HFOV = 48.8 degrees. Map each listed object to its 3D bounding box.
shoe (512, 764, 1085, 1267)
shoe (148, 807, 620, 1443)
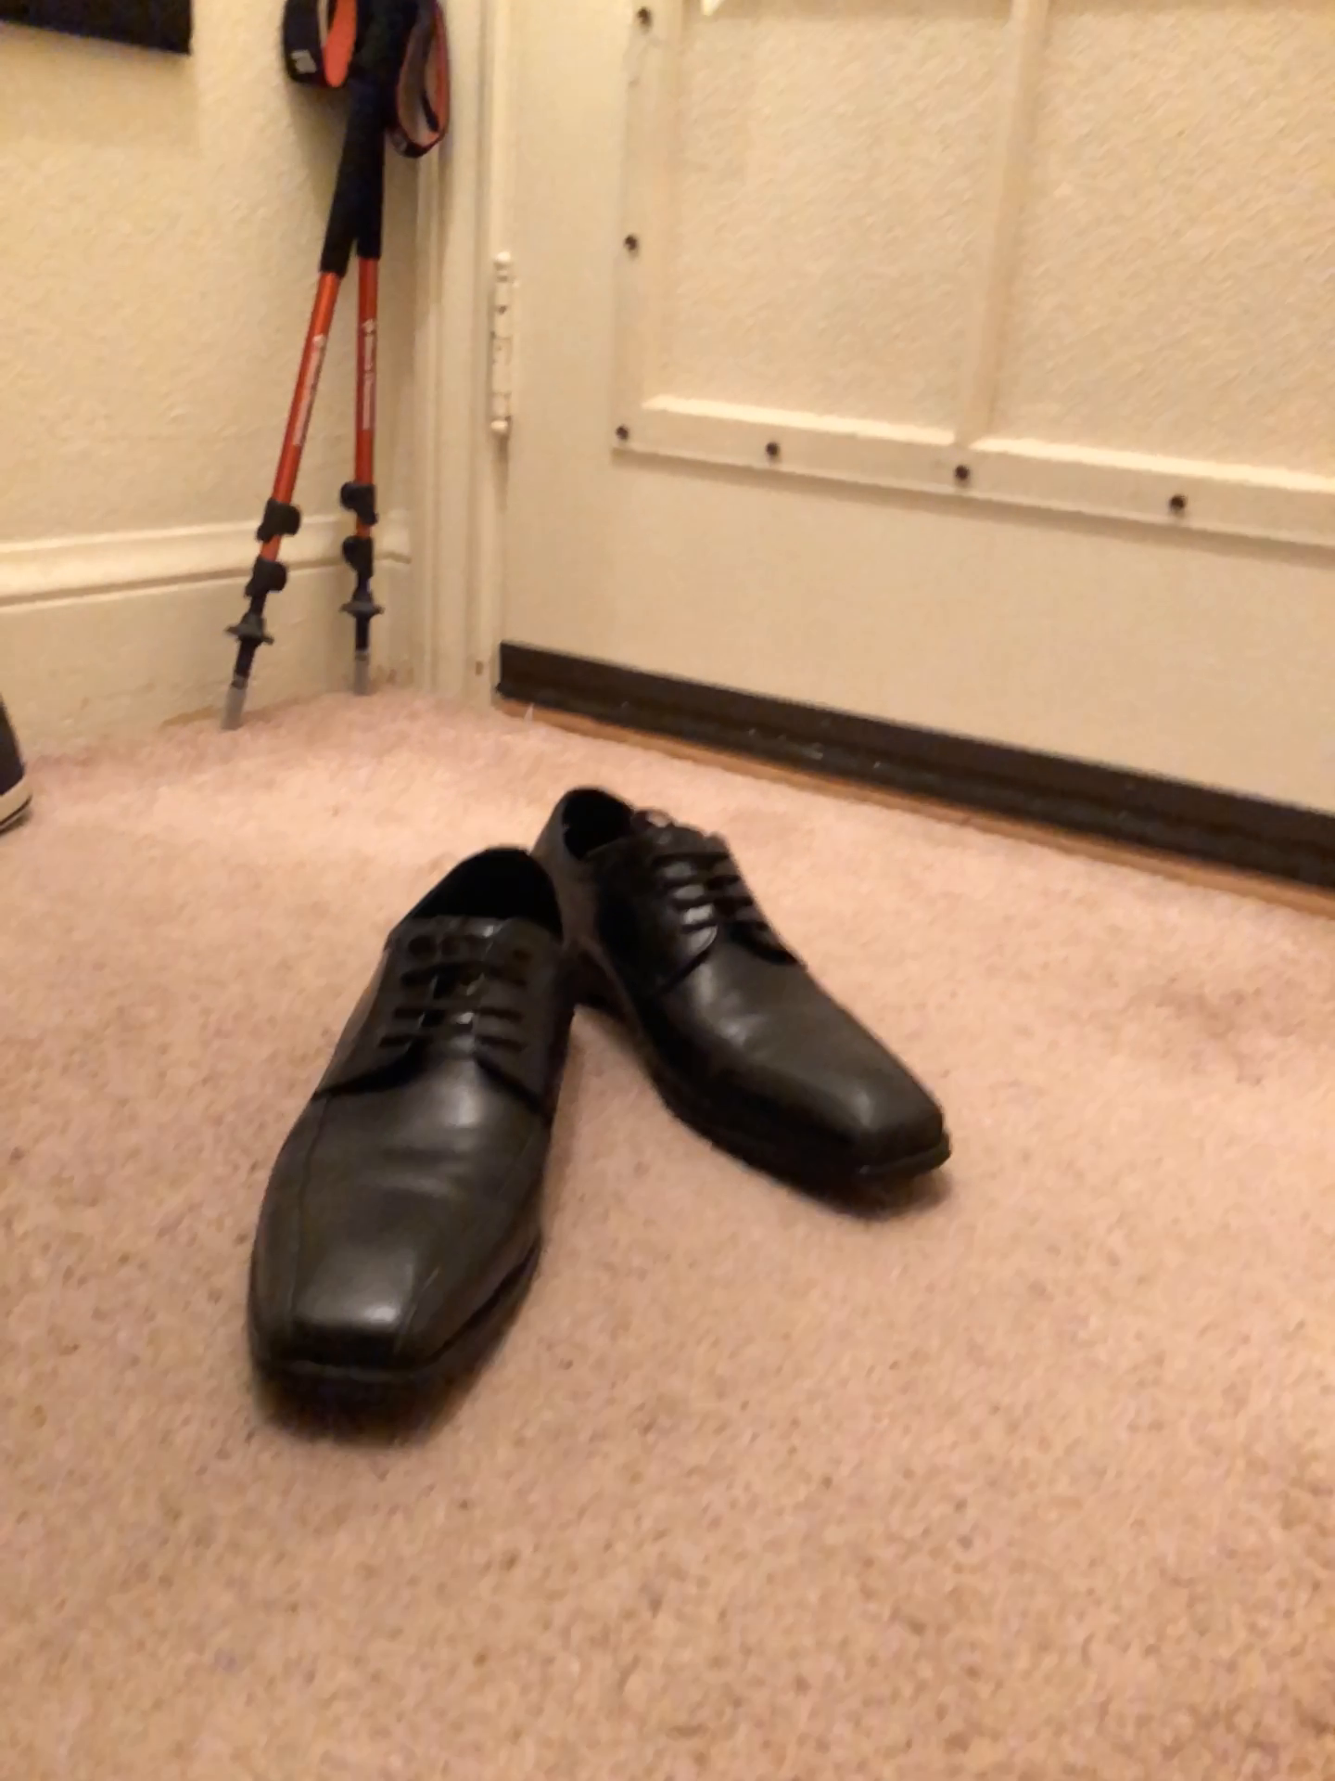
[{"bbox_3d":[0.042,0.039,0.711,0.115,0.110,0.297,-8,25,-30],"label":"shoe"},{"bbox_3d":[-0.091,0.067,0.578,0.110,0.107,0.284,5,21,2],"label":"shoe"}]
